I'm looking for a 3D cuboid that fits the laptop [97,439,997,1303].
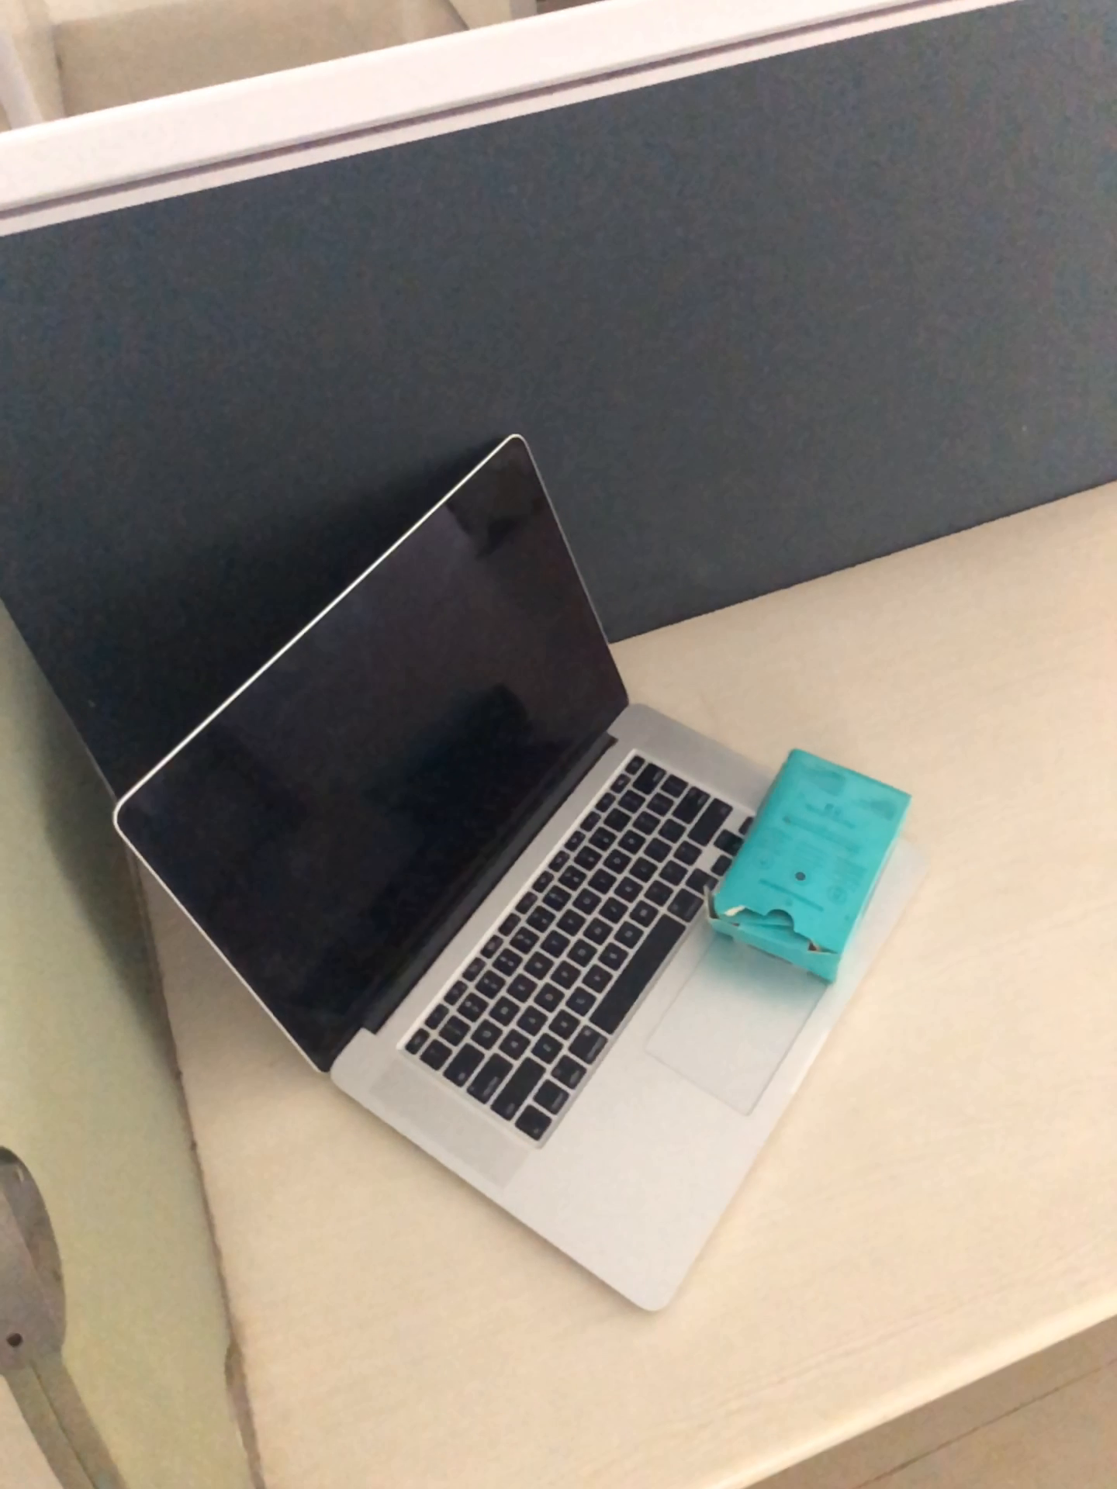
[{"bbox_3d":[0.006,0.057,0.724,0.338,0.200,0.329,30,61,20],"label":"laptop"}]
